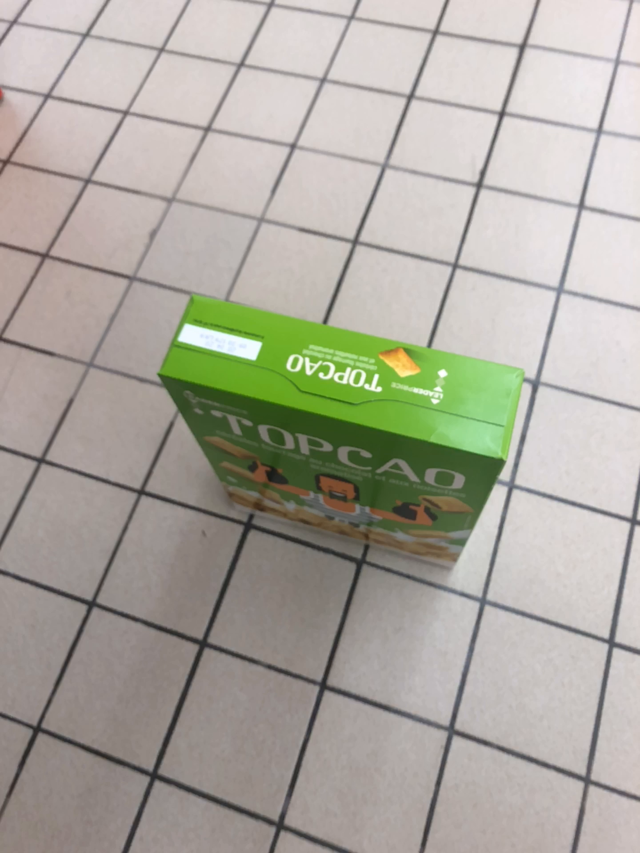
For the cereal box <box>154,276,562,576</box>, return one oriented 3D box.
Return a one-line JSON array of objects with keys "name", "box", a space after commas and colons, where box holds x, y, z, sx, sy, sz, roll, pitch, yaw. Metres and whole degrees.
[{"name": "cereal box", "box": [0.024, 0.018, 0.478, 0.200, 0.249, 0.060, 14, 67, 9]}]
